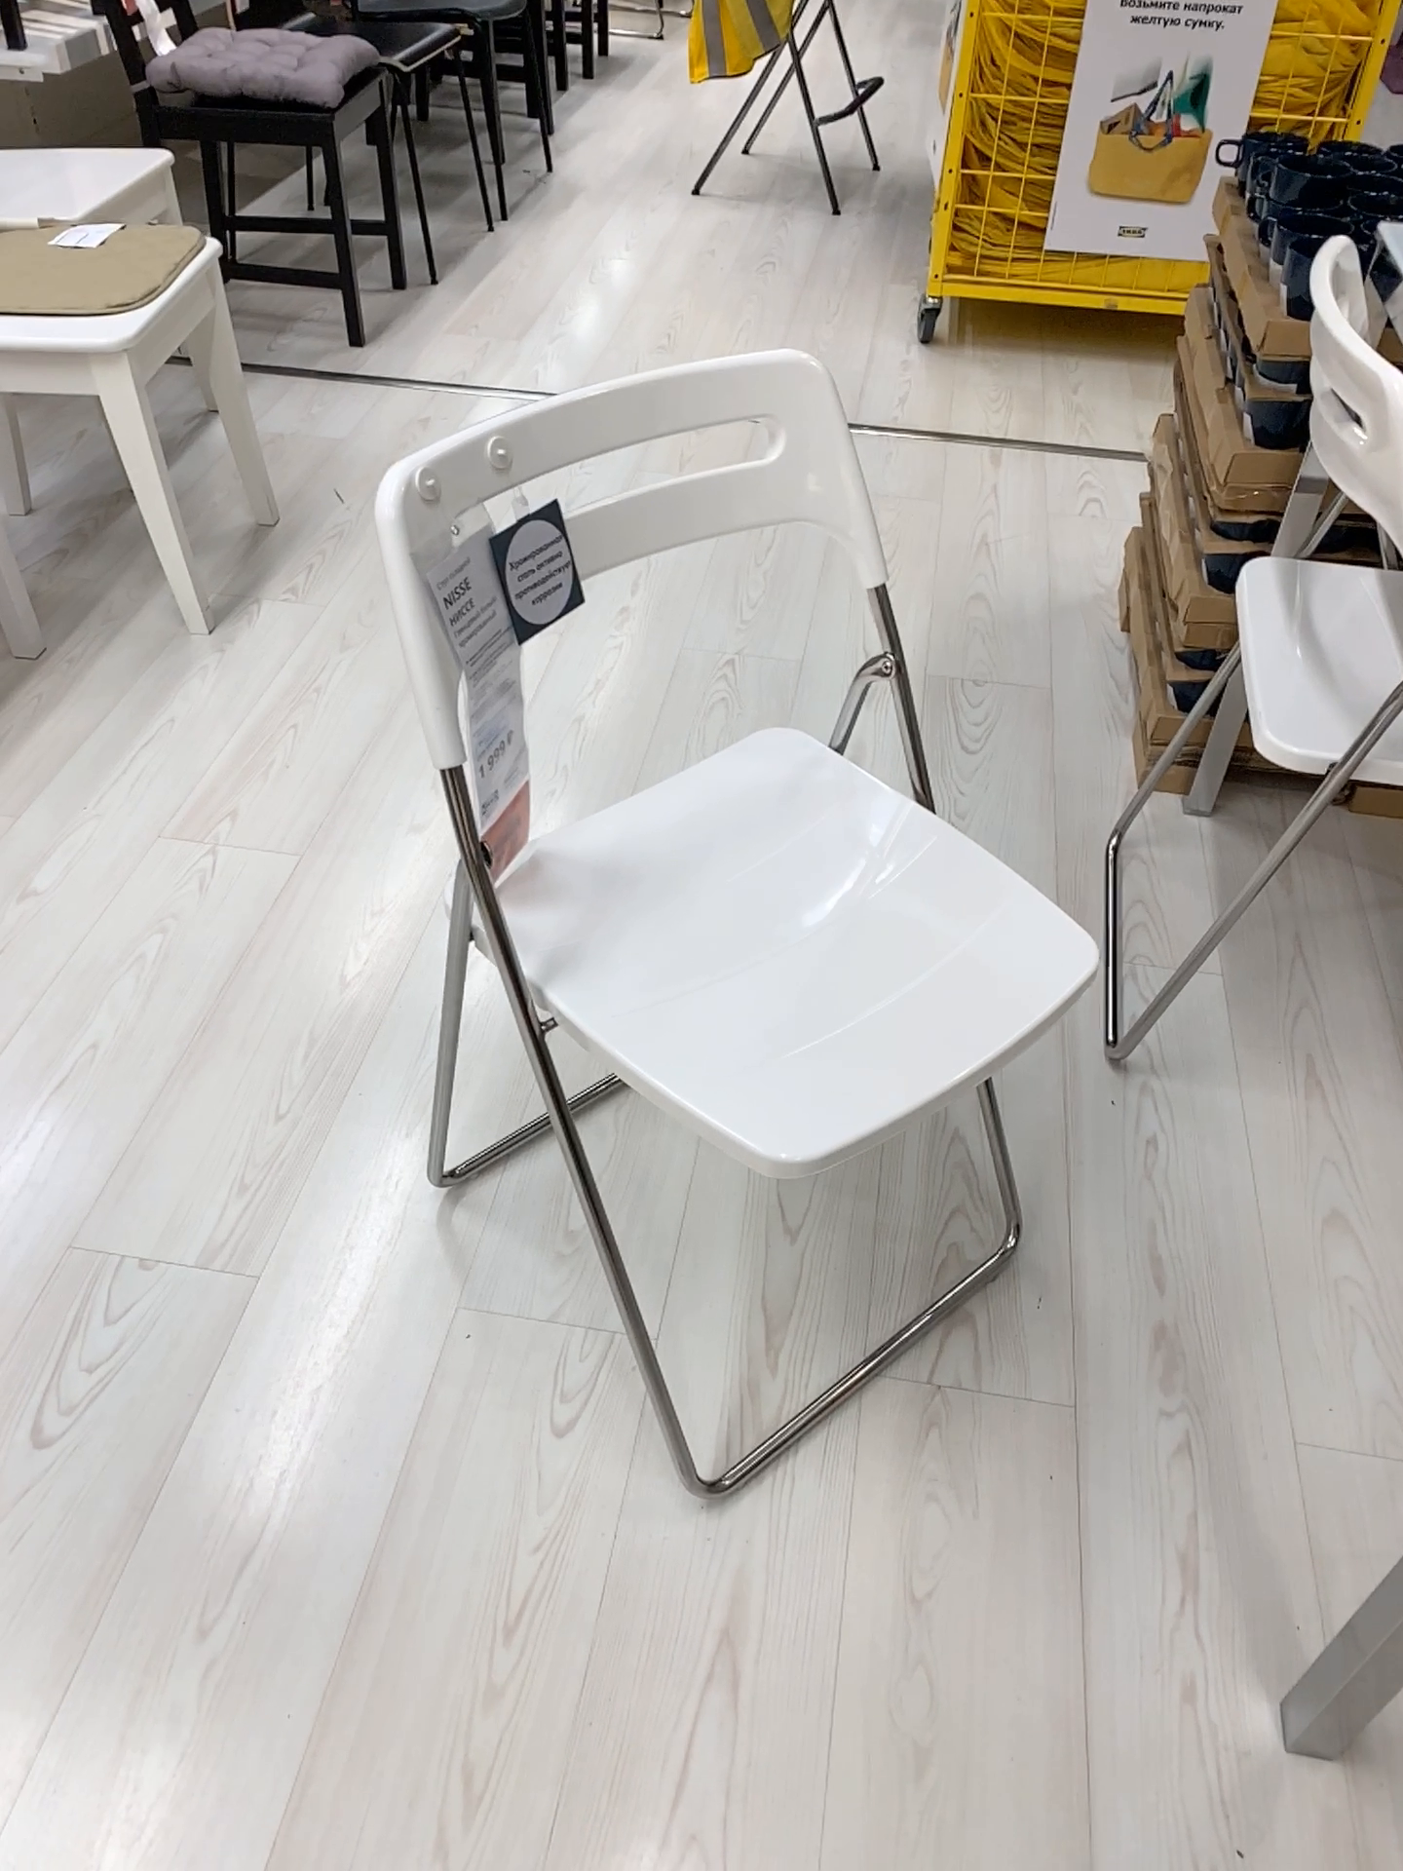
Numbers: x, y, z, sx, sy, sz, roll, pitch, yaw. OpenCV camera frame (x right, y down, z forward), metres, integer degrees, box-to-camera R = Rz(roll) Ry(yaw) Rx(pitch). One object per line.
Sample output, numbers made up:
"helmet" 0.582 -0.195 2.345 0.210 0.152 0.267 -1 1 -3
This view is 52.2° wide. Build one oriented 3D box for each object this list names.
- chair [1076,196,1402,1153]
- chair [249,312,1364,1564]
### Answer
"chair" 0.718 -0.258 1.446 0.510 0.726 0.533 8 42 6
"chair" 0.051 -0.012 1.153 0.512 0.716 0.501 -28 50 -30
